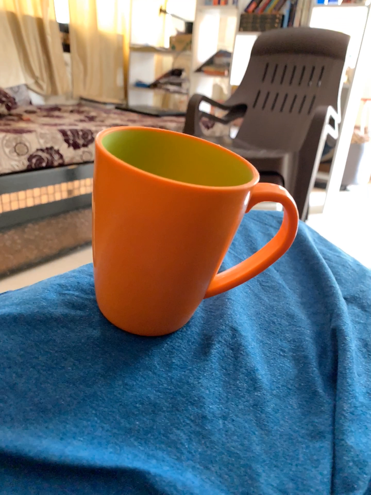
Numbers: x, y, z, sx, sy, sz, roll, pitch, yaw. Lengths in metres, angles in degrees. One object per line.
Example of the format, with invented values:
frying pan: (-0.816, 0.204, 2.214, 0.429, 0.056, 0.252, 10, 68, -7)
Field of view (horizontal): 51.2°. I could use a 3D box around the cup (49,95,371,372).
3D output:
cup: (0.002, -0.008, 0.209, 0.120, 0.089, 0.101, 10, 33, -16)
